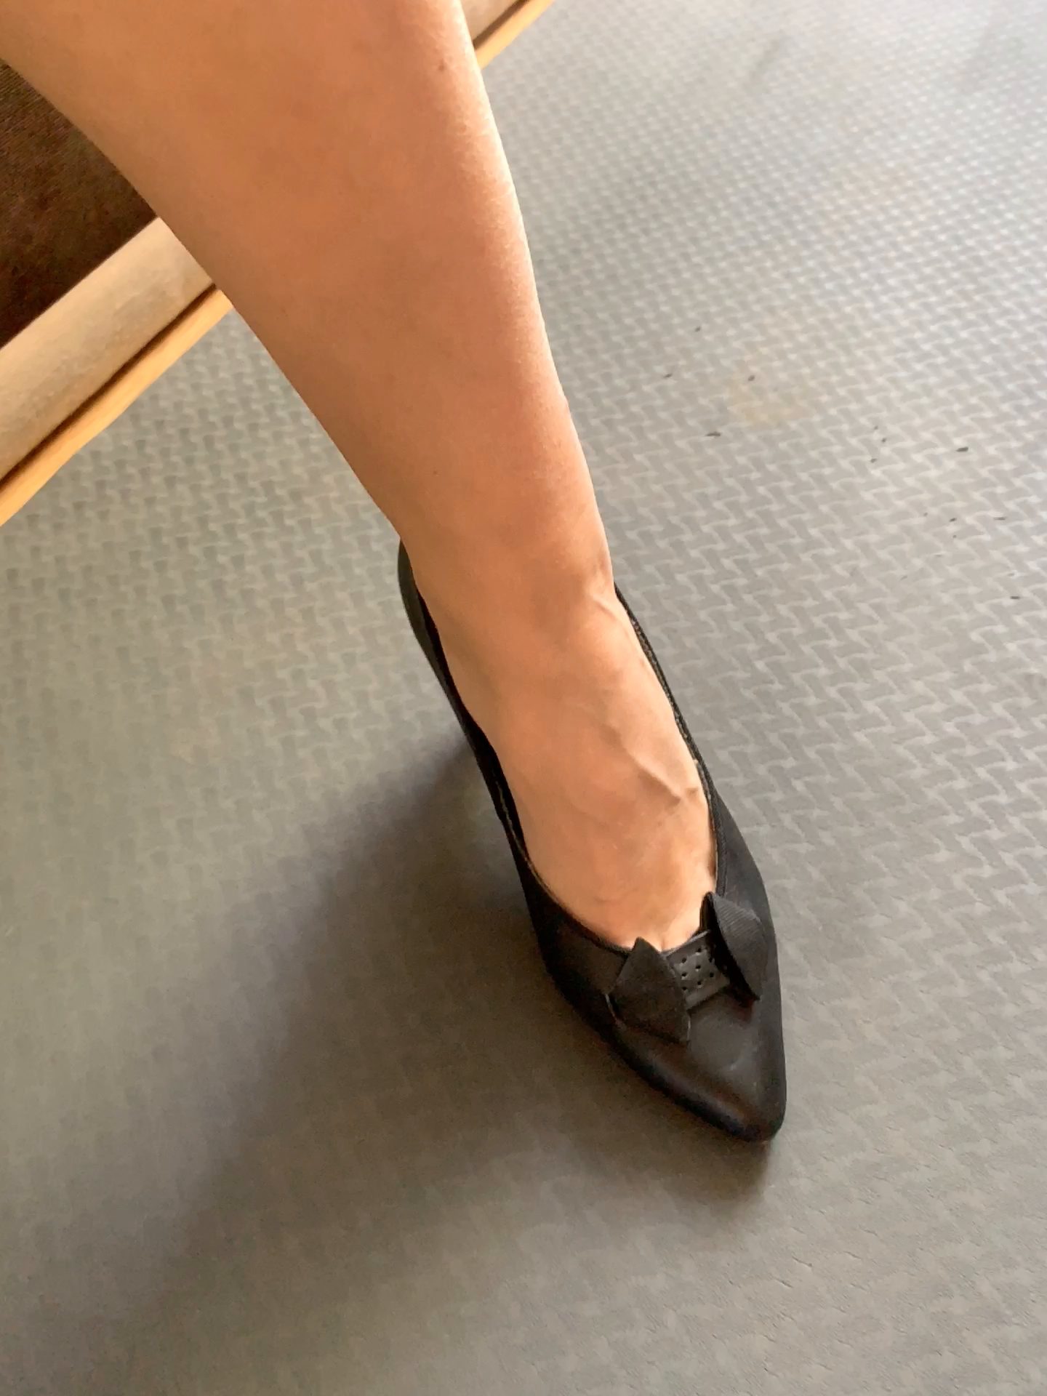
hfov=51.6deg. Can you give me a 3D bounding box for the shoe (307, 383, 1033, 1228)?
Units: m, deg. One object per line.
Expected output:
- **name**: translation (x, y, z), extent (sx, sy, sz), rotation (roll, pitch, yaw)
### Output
- **shoe**: translation (0.026, 0.021, 0.338), extent (0.090, 0.100, 0.231), rotation (-25, 56, -12)
